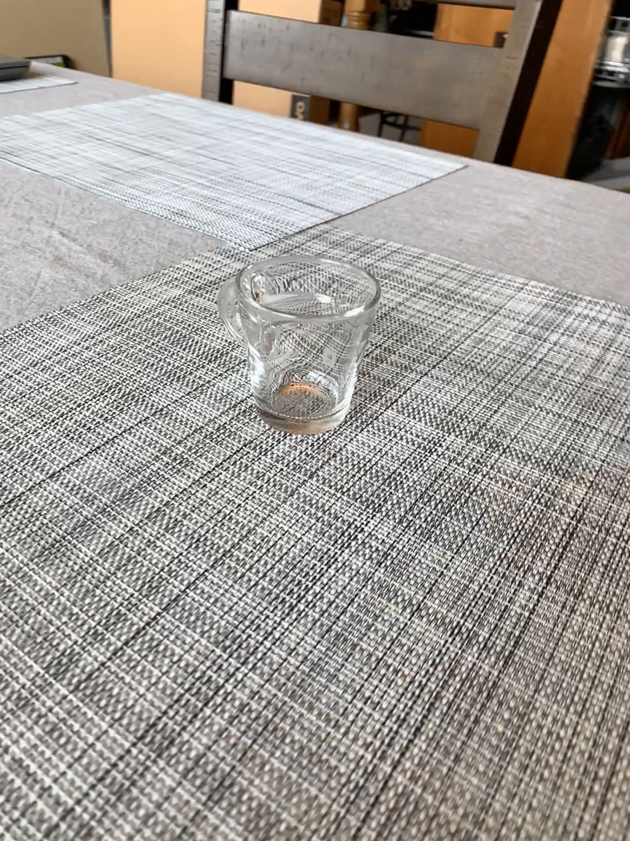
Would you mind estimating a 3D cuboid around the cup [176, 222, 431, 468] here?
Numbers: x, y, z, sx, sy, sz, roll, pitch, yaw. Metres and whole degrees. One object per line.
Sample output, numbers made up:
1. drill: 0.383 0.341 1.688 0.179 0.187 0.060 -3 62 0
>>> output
1. cup: -0.007 -0.035 0.274 0.083 0.060 0.058 27 42 24
